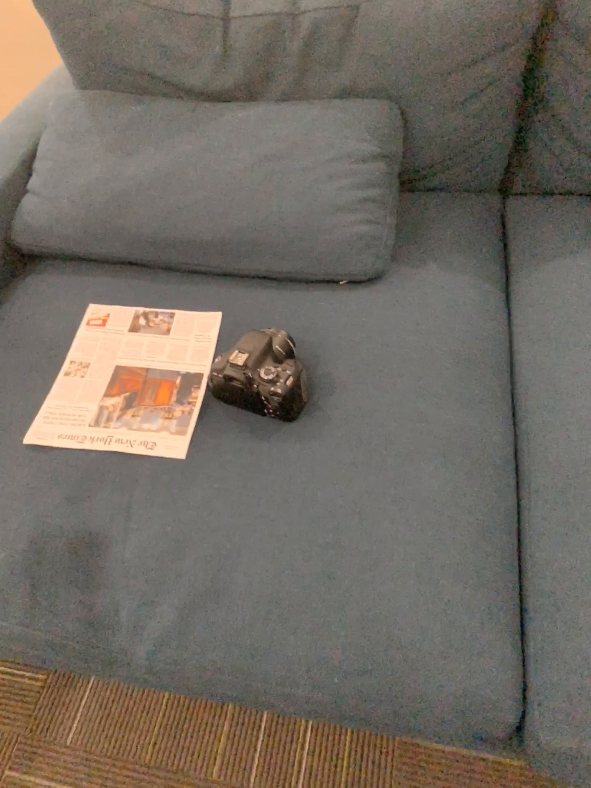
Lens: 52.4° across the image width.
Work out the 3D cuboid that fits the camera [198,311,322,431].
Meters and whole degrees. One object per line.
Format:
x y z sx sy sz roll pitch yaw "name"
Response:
-0.049 -0.036 0.905 0.140 0.100 0.110 17 53 20 "camera"
